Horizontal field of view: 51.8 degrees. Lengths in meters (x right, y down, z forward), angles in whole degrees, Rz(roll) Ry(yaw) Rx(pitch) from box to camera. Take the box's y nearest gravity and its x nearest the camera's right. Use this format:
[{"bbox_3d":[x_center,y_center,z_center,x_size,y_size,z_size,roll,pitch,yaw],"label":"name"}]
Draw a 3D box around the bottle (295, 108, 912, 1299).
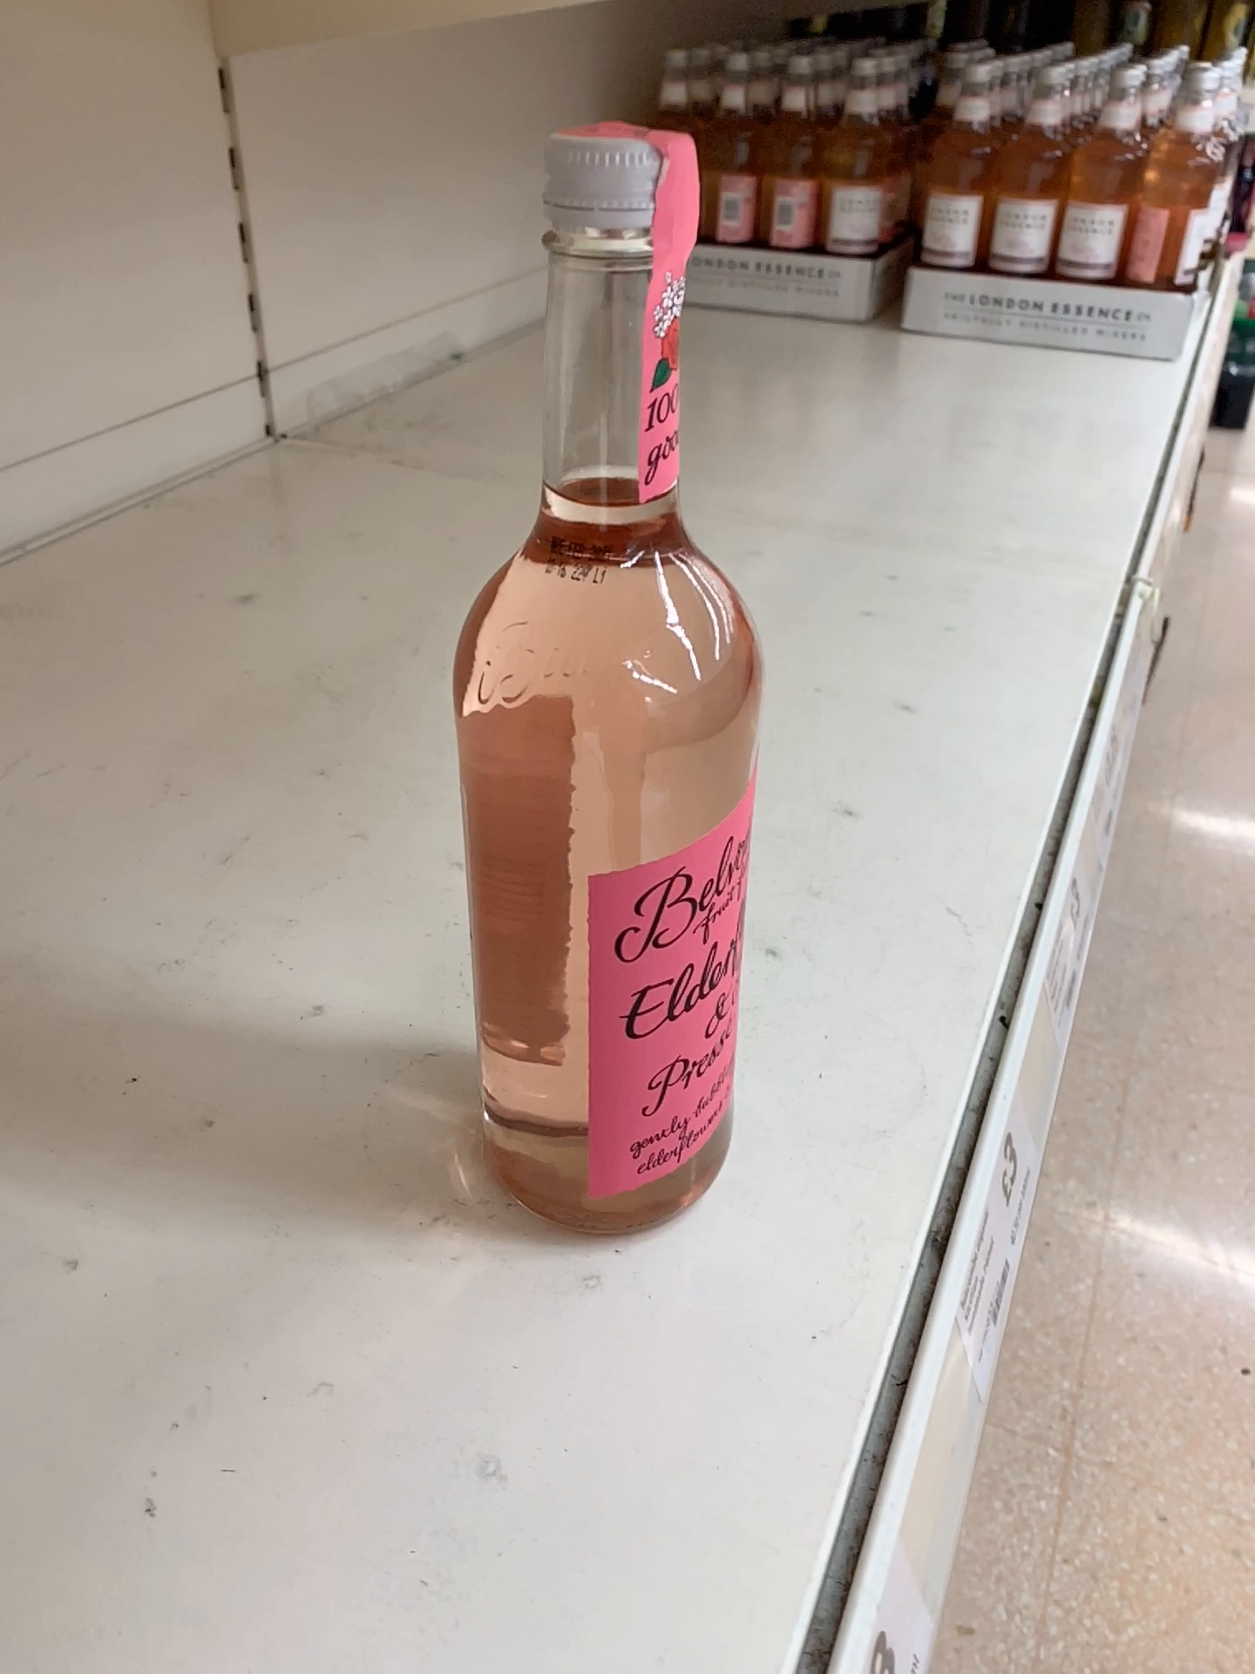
[{"bbox_3d":[-0.005,-0.023,0.328,0.086,0.274,0.087,1,33,-1],"label":"bottle"}]
